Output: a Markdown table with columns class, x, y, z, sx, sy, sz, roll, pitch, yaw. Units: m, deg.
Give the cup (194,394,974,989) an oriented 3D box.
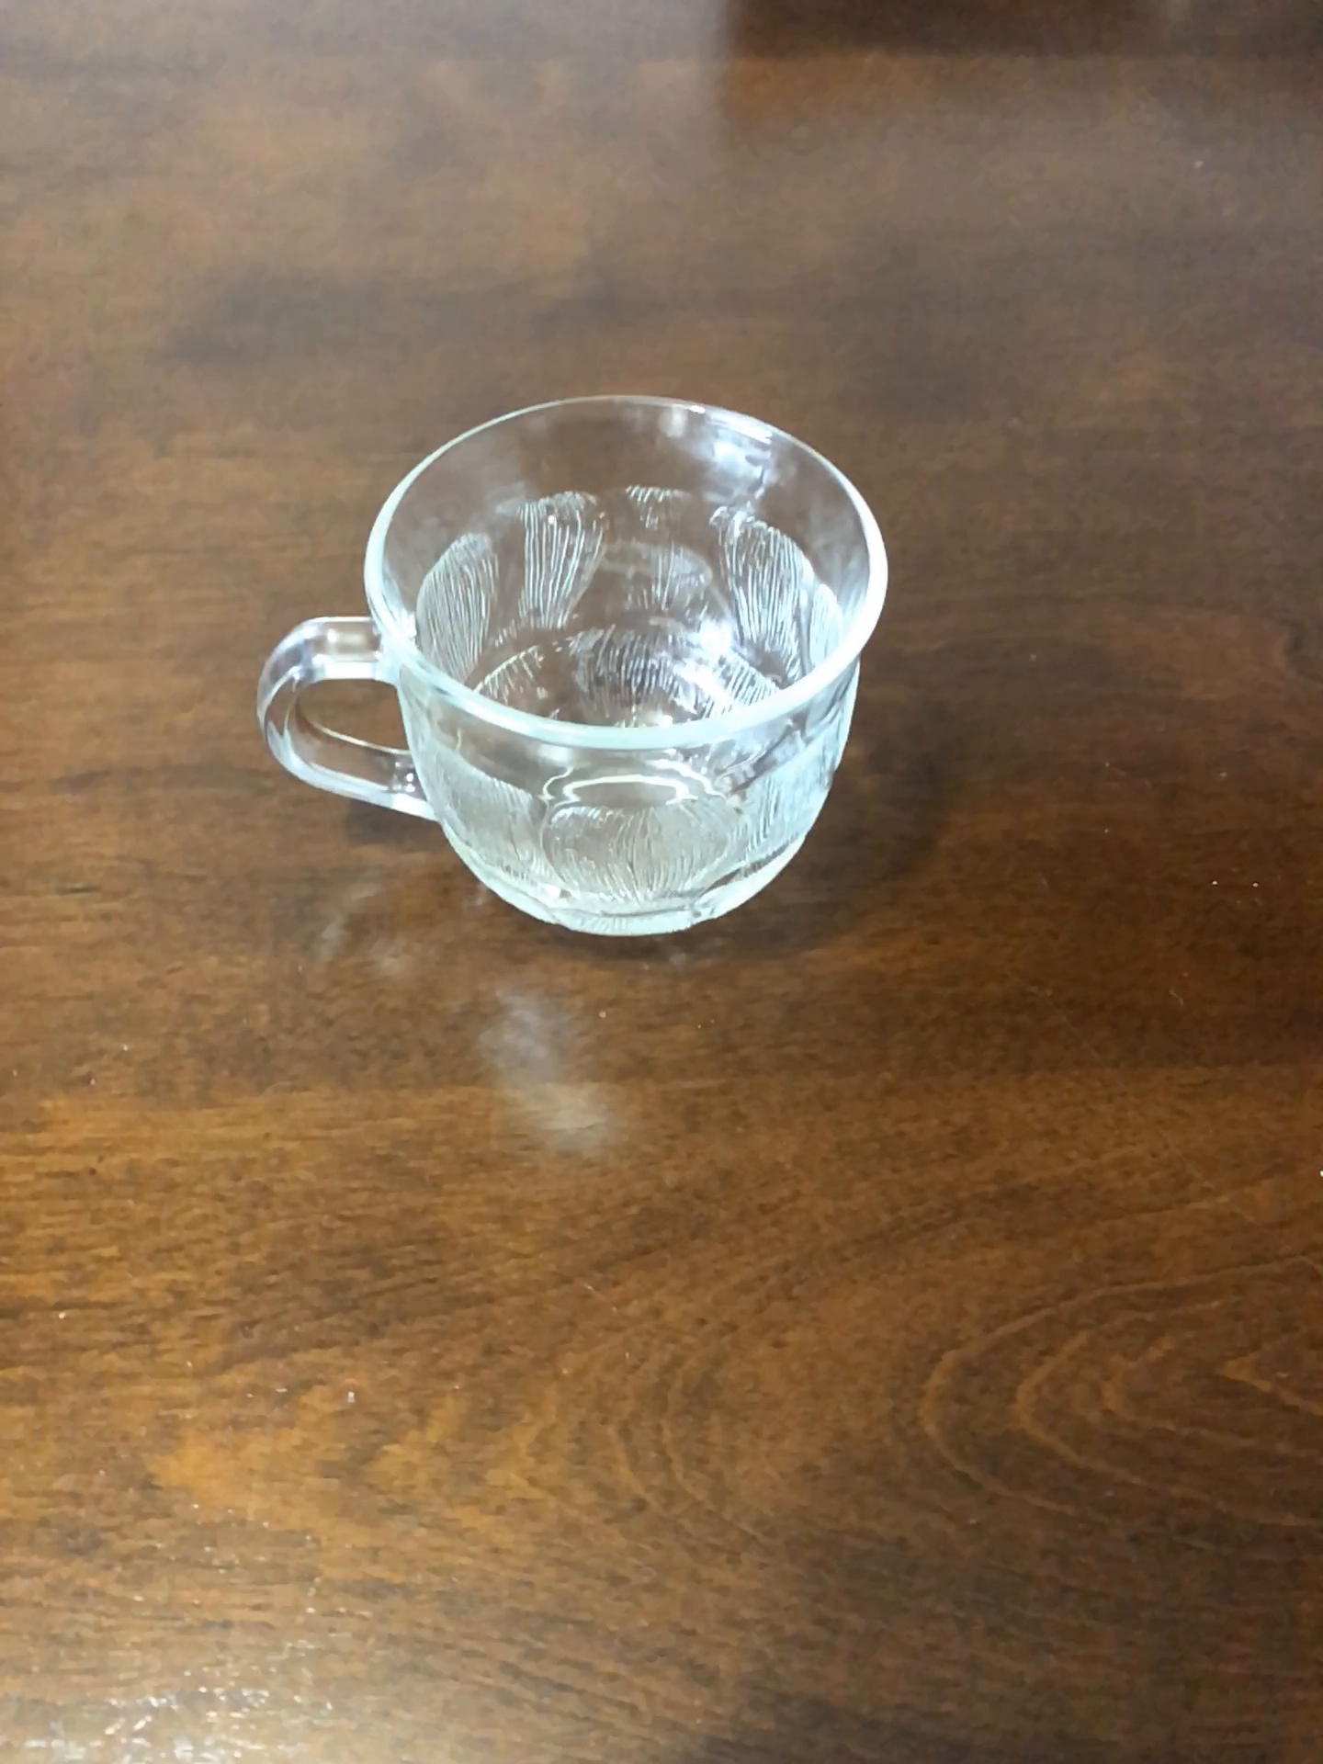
| class | x | y | z | sx | sy | sz | roll | pitch | yaw |
| --- | --- | --- | --- | --- | --- | --- | --- | --- | --- |
| cup | -0.011 | -0.031 | 0.234 | 0.100 | 0.050 | 0.080 | -1 | 52 | -2 |
